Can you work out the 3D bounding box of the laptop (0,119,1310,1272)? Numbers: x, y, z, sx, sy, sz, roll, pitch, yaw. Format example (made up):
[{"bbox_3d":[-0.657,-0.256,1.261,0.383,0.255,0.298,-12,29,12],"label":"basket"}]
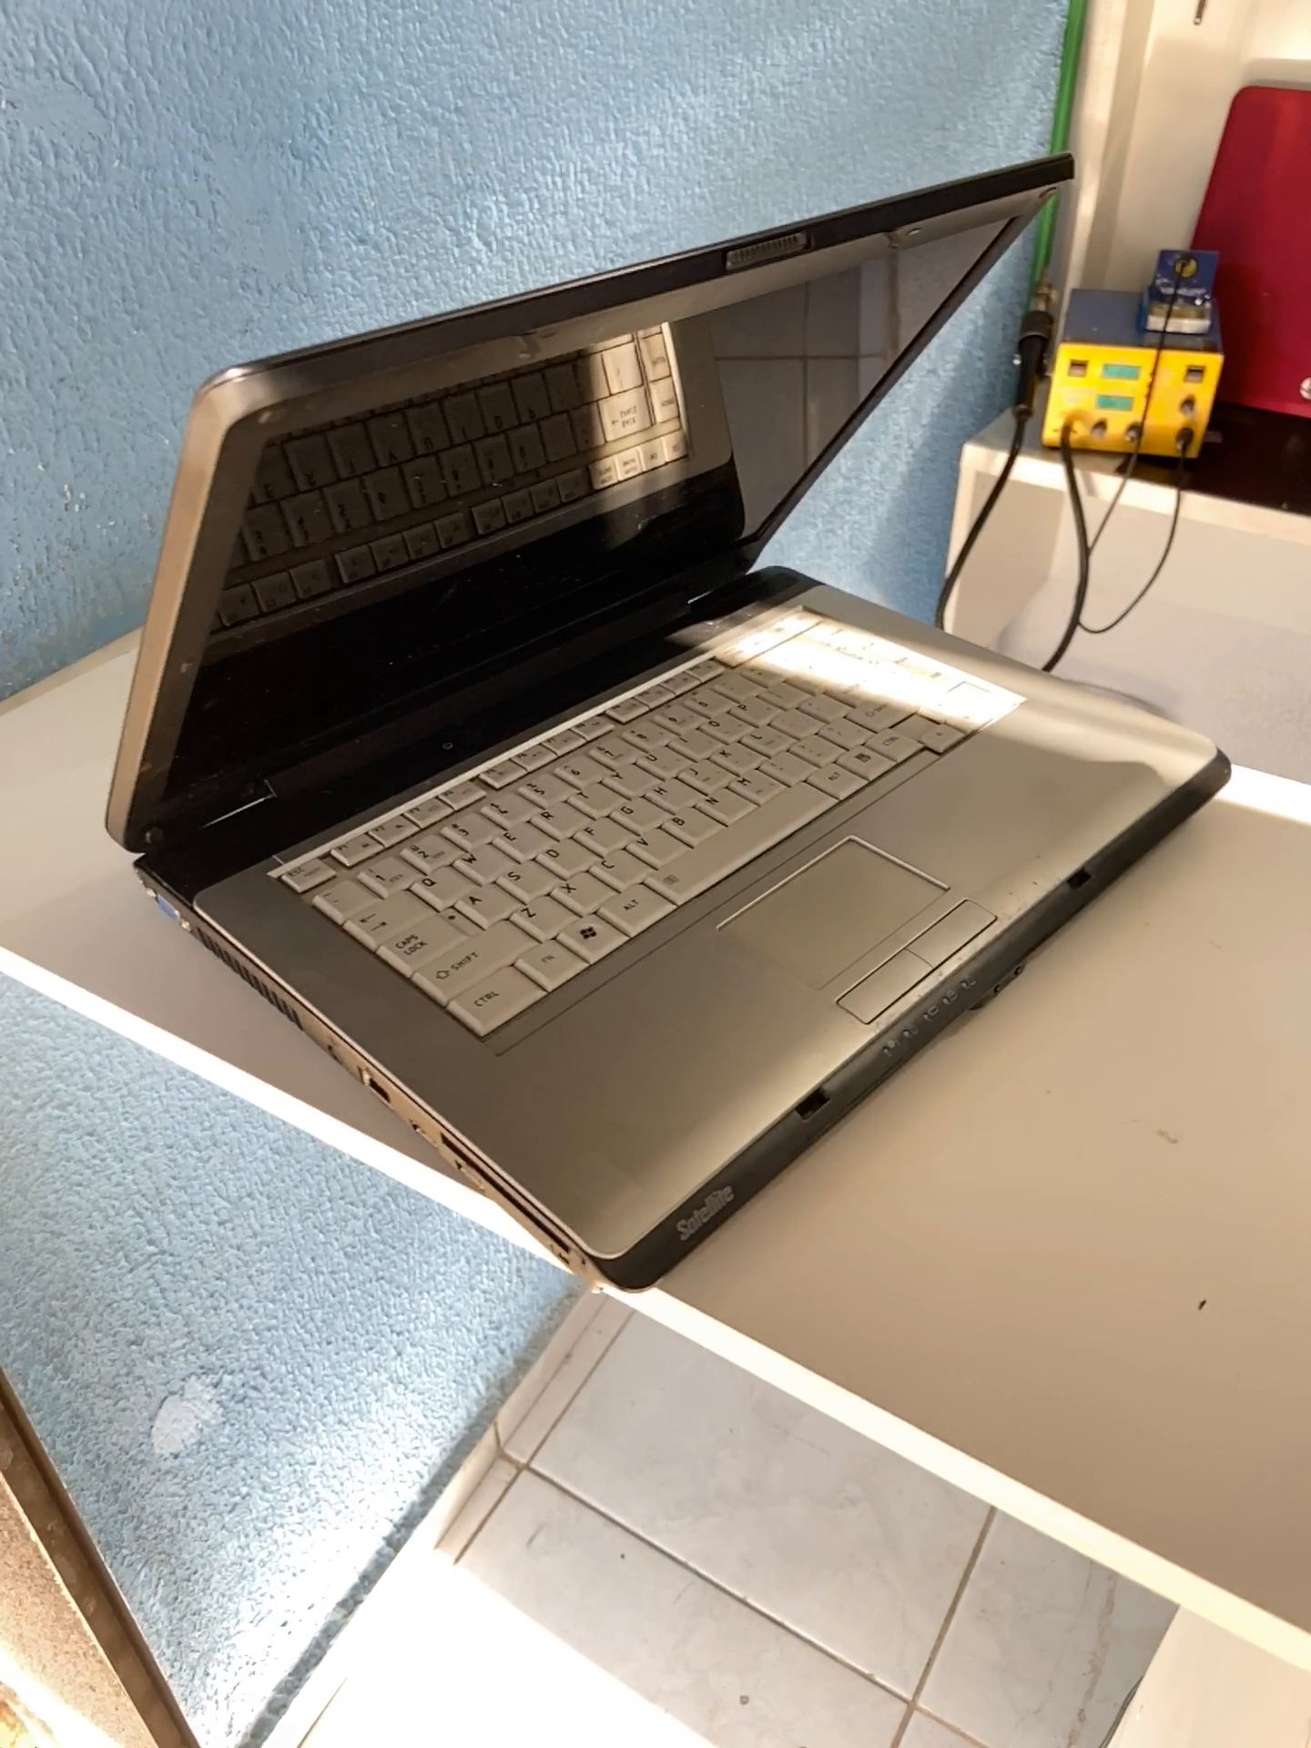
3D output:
[{"bbox_3d":[0.023,-0.106,0.457,0.246,0.202,0.352,31,47,34],"label":"laptop"}]
